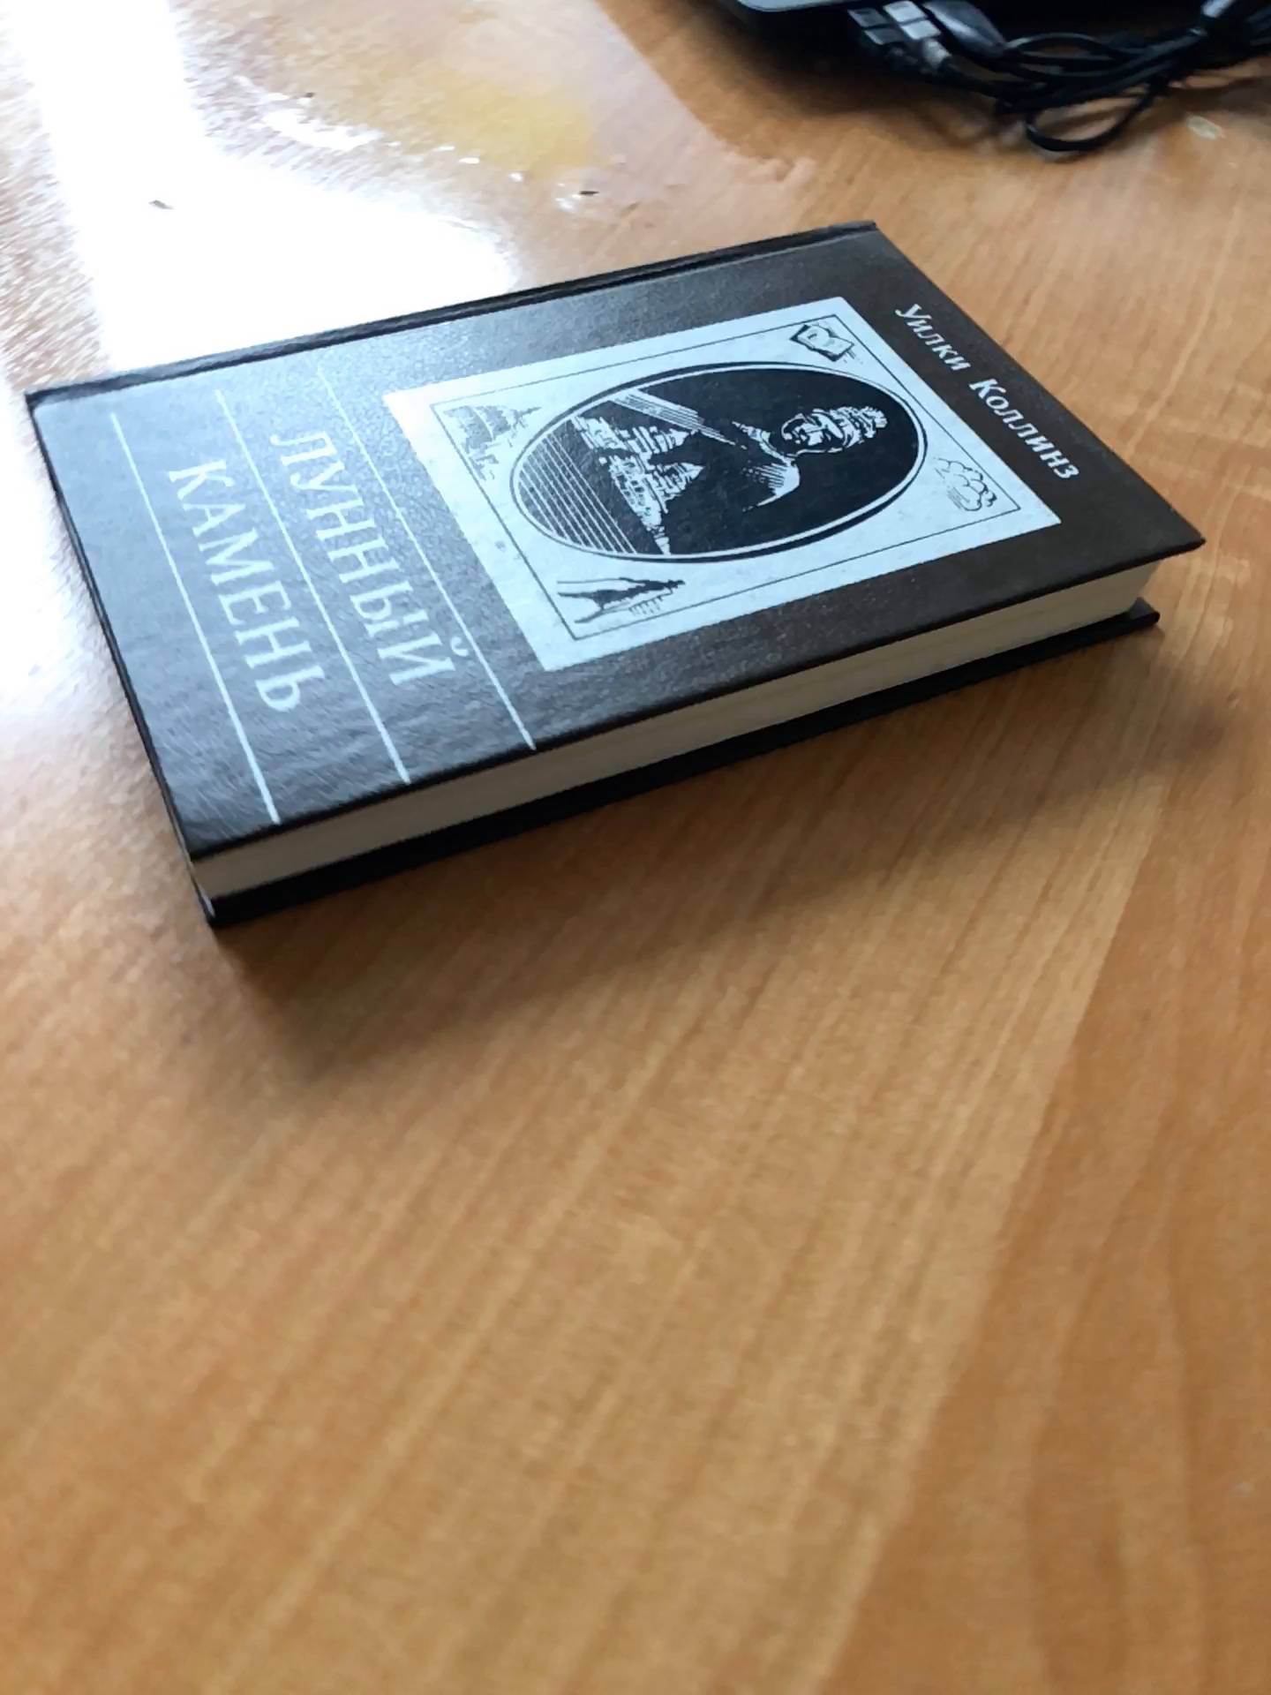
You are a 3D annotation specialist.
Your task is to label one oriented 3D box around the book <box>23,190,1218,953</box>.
[{"bbox_3d":[-0.007,-0.071,0.290,0.199,0.032,0.133,-19,54,-16],"label":"book"}]
